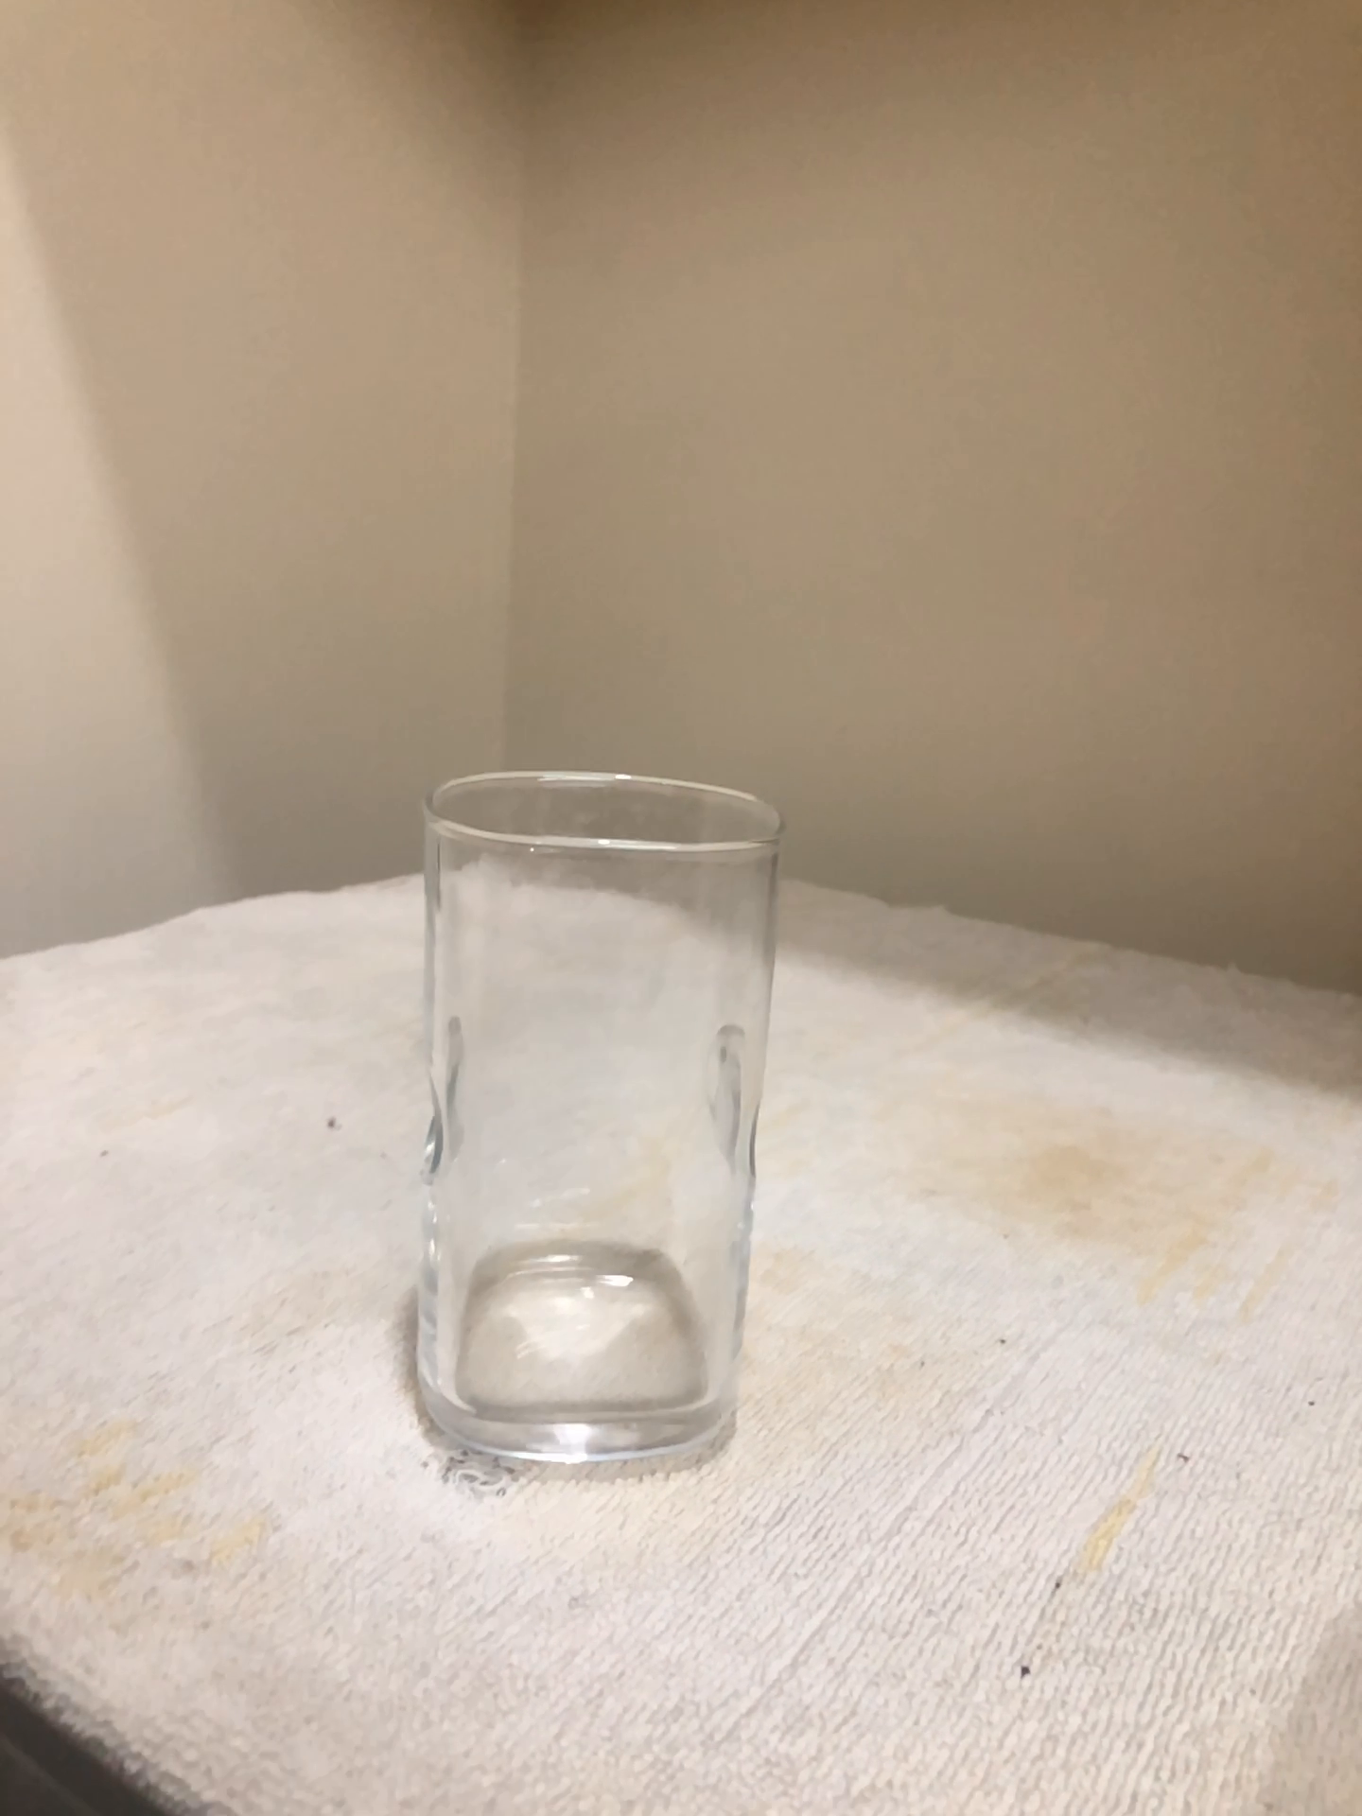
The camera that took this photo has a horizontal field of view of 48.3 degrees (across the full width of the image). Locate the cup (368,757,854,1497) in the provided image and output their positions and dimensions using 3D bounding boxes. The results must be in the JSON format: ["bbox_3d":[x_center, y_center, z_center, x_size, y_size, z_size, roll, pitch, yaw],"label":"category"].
[{"bbox_3d":[-0.016,0.034,0.271,0.070,0.110,0.070,4,13,-1],"label":"cup"}]
